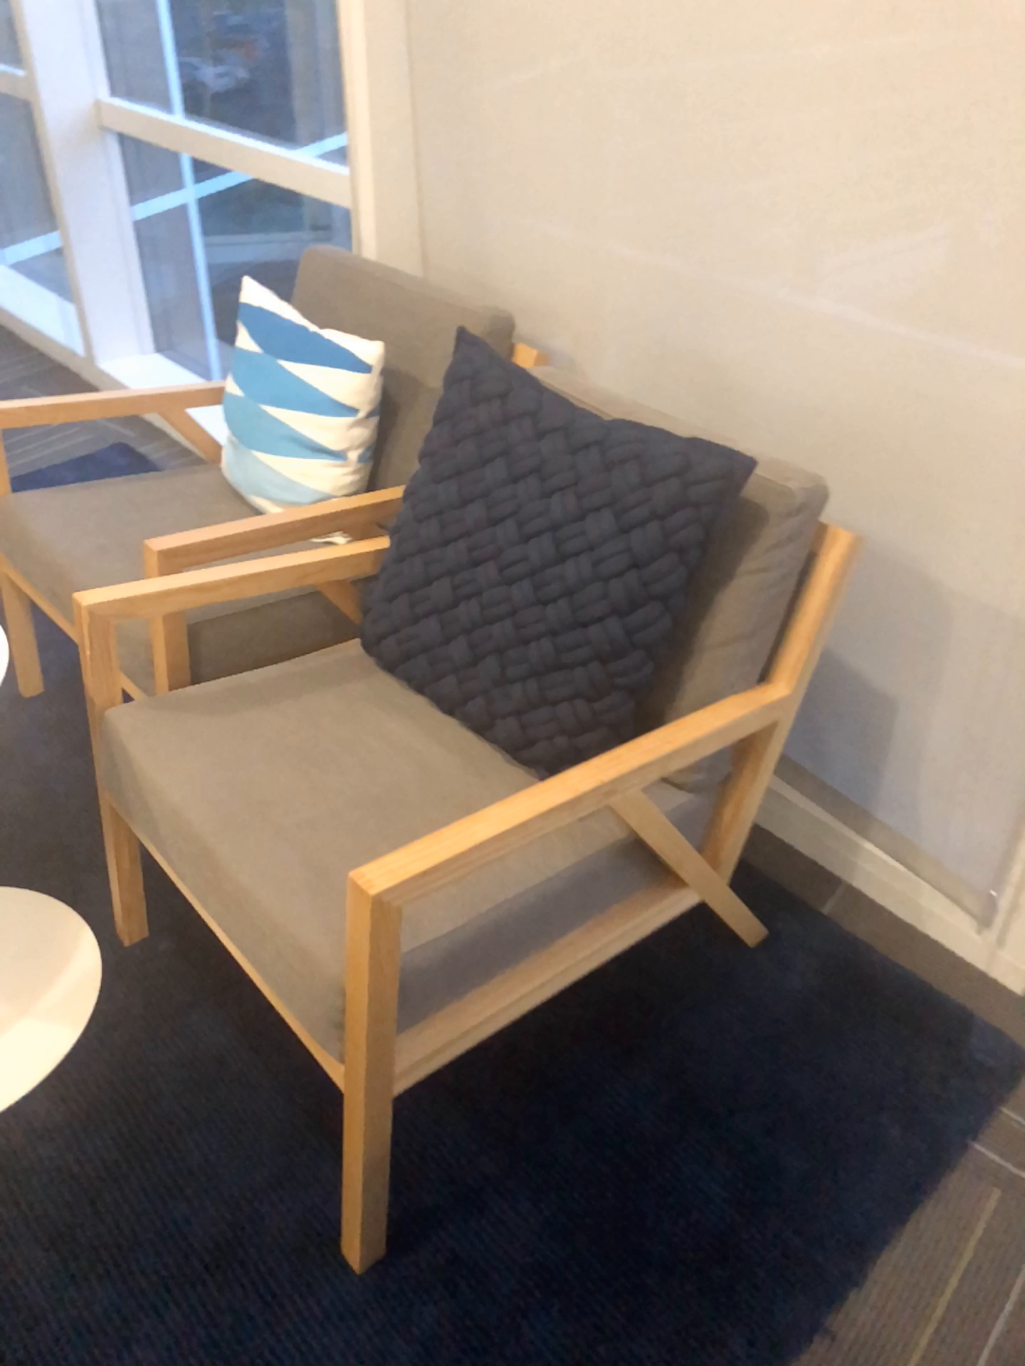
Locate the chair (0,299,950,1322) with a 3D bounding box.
[{"bbox_3d":[-0.083,0.057,1.467,0.855,0.773,0.742,-25,43,-32],"label":"chair"}]
